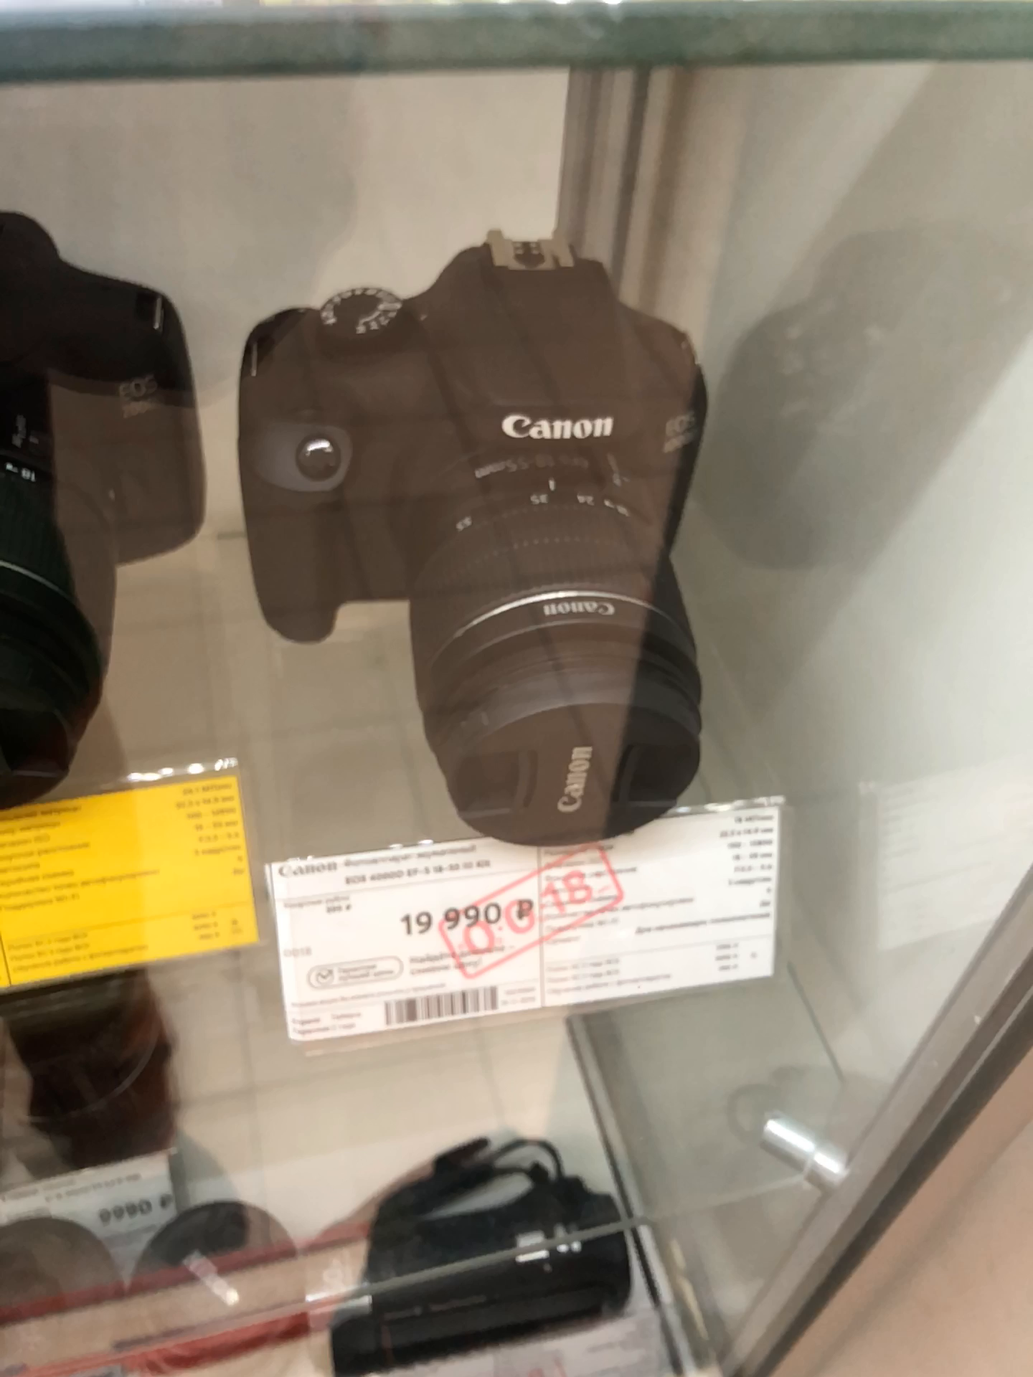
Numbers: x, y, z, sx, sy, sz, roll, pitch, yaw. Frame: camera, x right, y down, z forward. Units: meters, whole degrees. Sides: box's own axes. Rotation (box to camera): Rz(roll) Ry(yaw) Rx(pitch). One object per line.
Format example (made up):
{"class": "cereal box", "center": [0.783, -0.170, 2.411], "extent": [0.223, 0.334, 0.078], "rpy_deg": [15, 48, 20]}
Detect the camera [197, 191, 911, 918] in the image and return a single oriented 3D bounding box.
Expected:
{"class": "camera", "center": [-0.007, -0.042, 0.287], "extent": [0.125, 0.099, 0.147], "rpy_deg": [-6, 46, -11]}
